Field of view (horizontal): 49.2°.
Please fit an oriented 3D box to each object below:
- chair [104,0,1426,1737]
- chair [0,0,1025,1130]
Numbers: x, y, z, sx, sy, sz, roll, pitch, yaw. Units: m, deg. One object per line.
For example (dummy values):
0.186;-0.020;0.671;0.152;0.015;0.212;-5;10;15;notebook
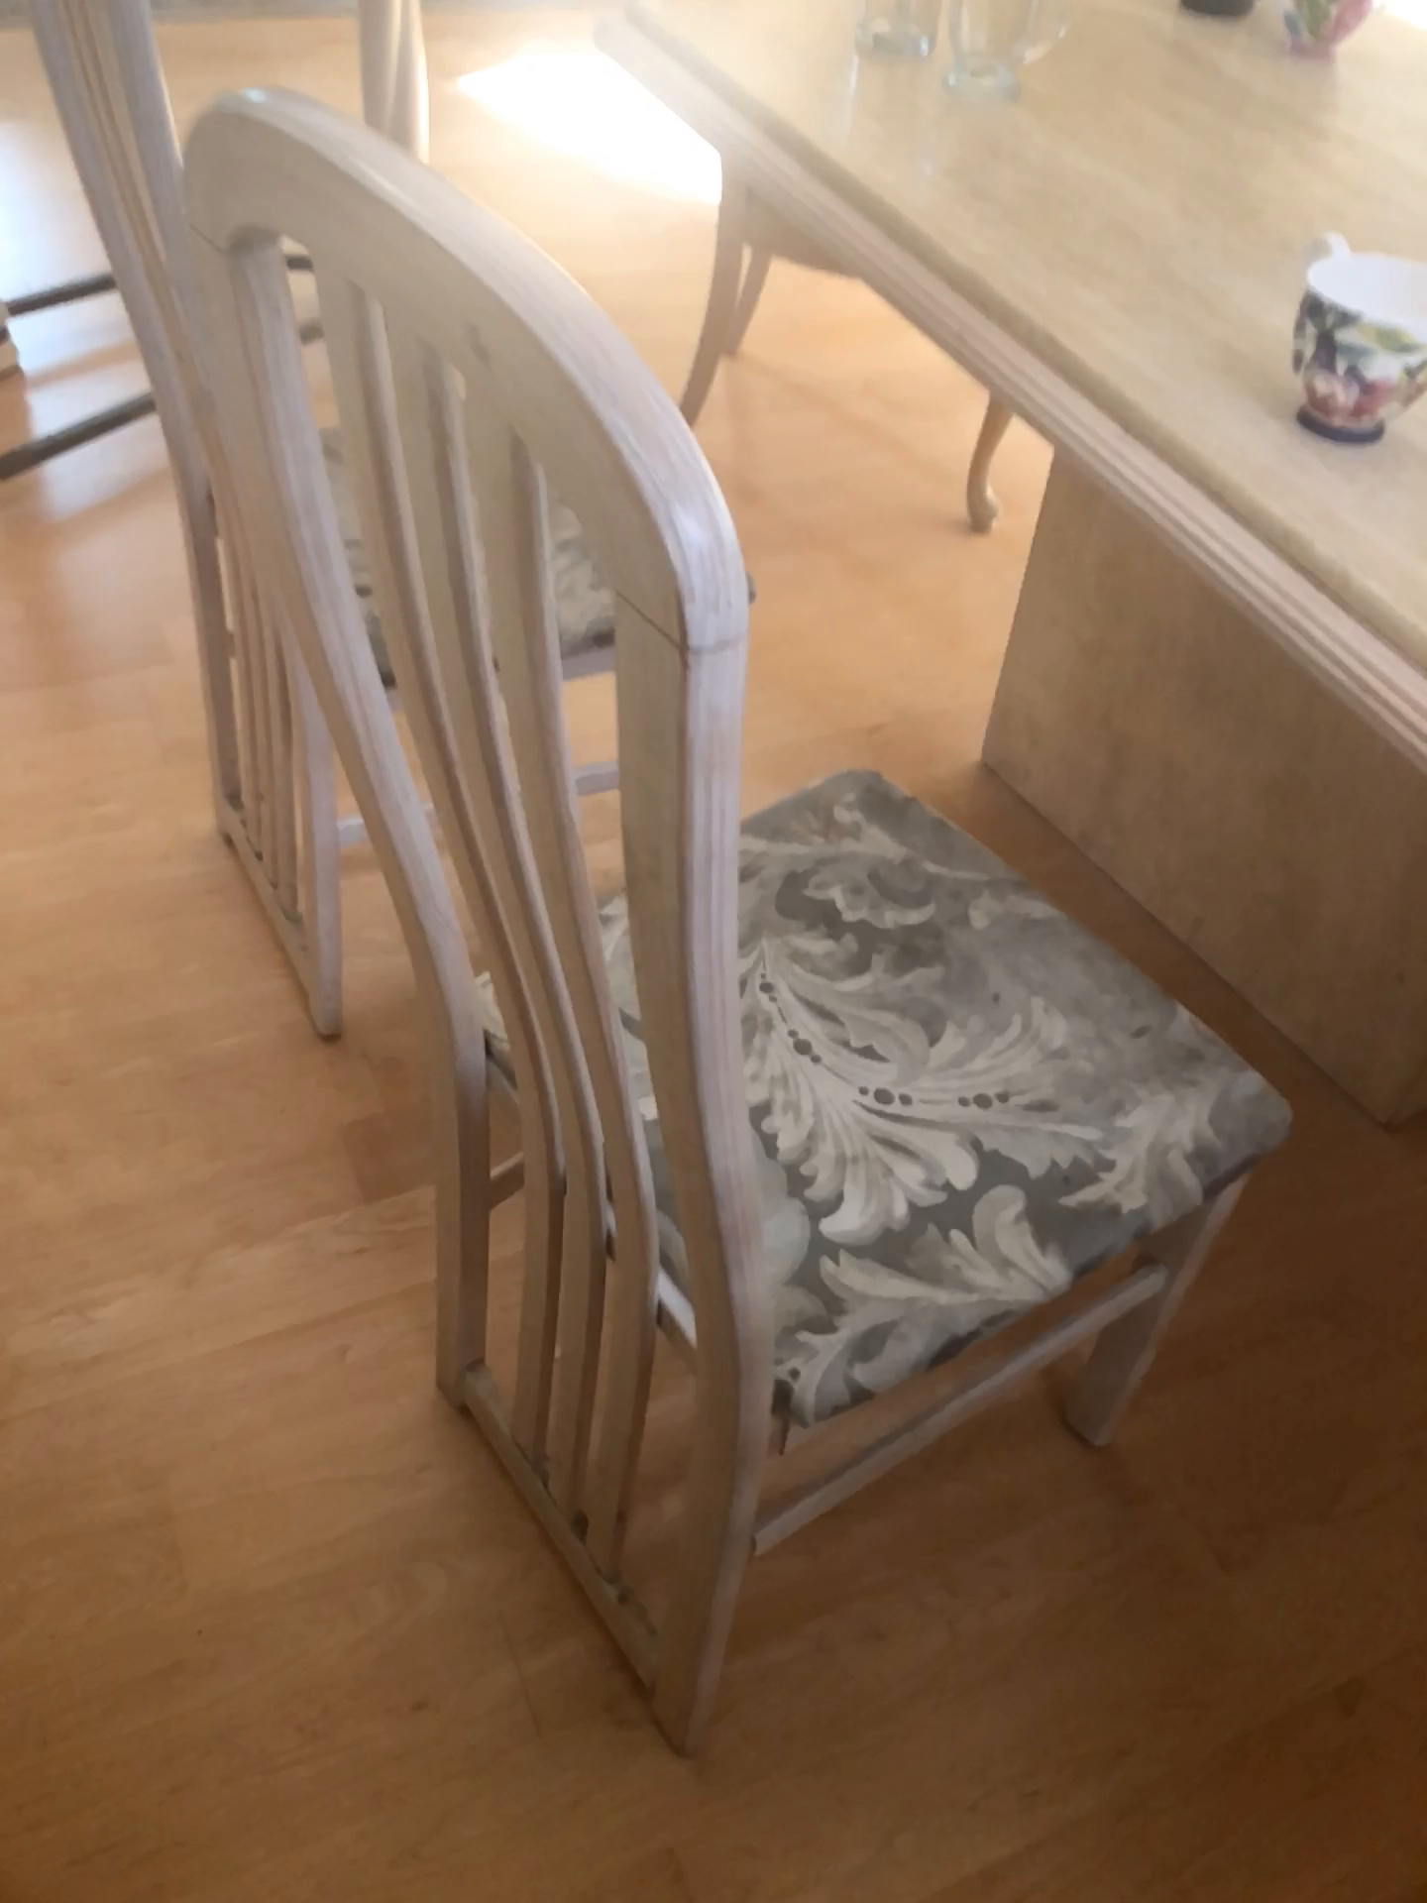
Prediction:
0.028;-0.028;1.103;0.563;1.140;0.482;-20;50;-26;chair
-0.203;-0.464;1.390;0.562;1.140;0.482;-18;49;-21;chair
